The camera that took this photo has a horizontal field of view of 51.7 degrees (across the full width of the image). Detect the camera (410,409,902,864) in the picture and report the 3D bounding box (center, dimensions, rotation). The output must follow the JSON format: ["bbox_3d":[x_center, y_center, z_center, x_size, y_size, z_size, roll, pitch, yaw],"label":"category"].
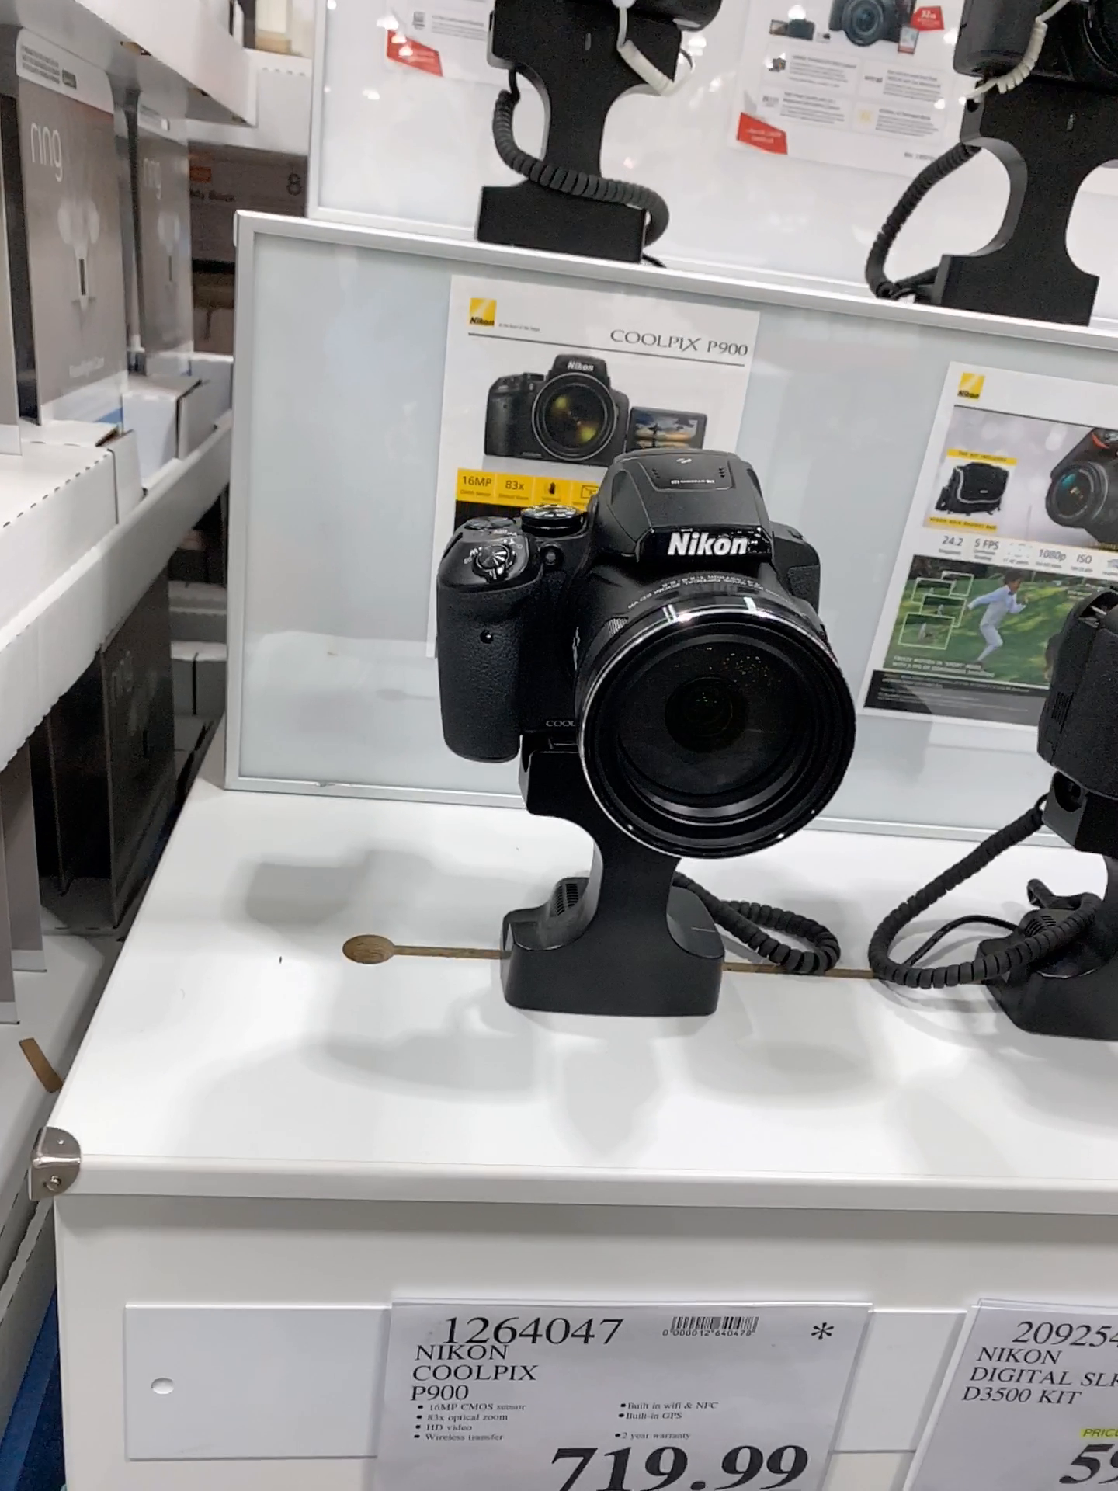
[{"bbox_3d":[0.020,-0.046,0.393,0.130,0.109,0.151,2,23,-3],"label":"camera"}]
